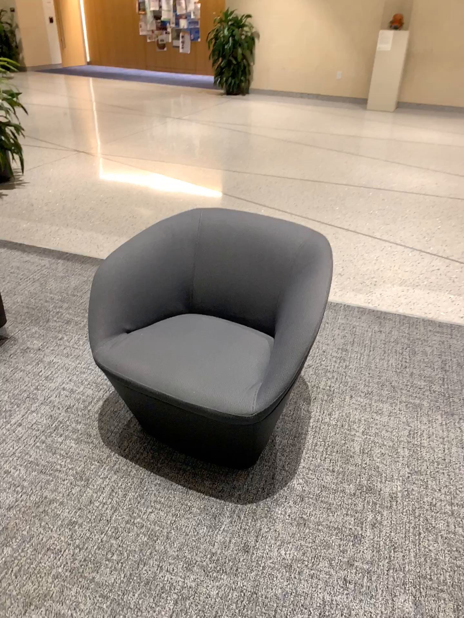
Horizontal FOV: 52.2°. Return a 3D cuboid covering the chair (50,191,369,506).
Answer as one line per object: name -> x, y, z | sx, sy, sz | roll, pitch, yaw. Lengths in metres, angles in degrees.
chair -> -0.040, 0.065, 1.626 | 0.779, 0.658, 0.636 | 15, 34, 20
